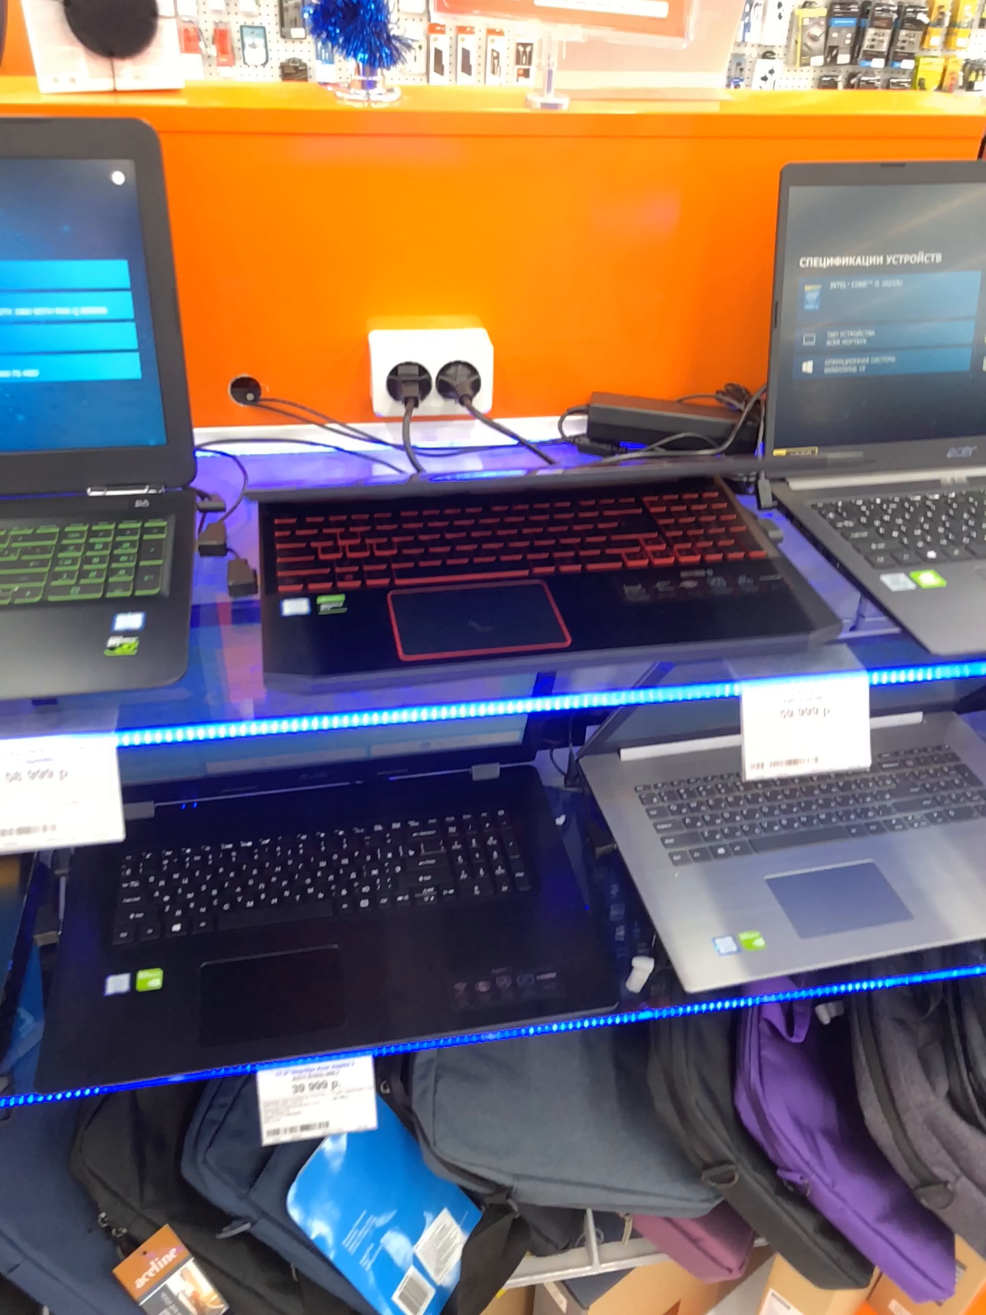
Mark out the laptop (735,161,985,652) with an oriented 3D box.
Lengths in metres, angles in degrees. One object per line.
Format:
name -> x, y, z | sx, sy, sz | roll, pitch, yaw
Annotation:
laptop -> 0.418, -0.200, 0.772 | 0.342, 0.226, 0.314 | -6, 35, -11

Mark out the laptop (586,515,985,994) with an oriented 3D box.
laptop -> 0.320, 0.061, 0.930 | 0.404, 0.220, 0.298 | -6, 34, -10

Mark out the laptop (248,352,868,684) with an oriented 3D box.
laptop -> 0.021, -0.111, 0.734 | 0.358, 0.103, 0.249 | -5, 34, -11

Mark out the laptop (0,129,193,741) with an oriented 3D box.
laptop -> -0.413, -0.157, 0.650 | 0.414, 0.250, 0.311 | -5, 34, -10
